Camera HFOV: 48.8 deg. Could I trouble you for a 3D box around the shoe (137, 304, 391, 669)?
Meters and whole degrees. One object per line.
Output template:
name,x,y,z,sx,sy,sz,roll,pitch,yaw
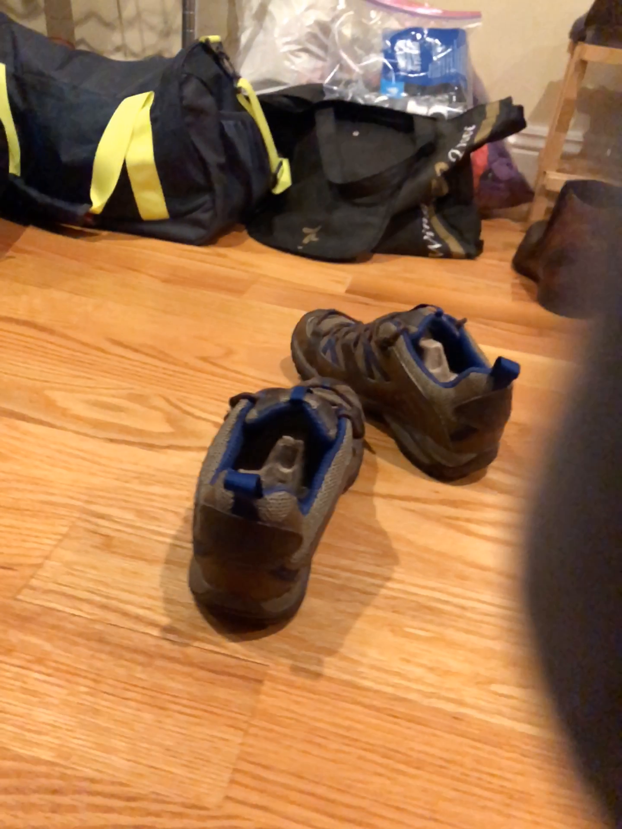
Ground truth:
shoe,-0.018,0.026,0.458,0.094,0.106,0.241,12,31,8

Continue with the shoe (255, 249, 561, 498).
shoe,0.065,-0.050,0.583,0.097,0.094,0.252,-16,38,-34
